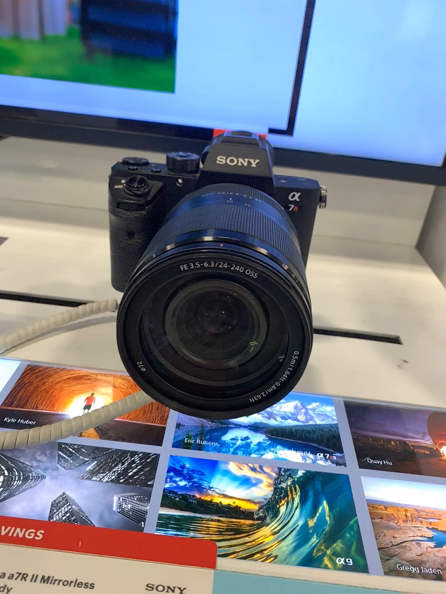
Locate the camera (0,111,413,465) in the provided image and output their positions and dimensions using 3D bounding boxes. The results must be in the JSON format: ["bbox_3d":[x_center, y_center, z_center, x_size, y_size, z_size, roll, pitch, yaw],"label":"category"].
[{"bbox_3d":[-0.008,-0.023,0.240,0.130,0.099,0.173,5,30,-1],"label":"camera"}]
